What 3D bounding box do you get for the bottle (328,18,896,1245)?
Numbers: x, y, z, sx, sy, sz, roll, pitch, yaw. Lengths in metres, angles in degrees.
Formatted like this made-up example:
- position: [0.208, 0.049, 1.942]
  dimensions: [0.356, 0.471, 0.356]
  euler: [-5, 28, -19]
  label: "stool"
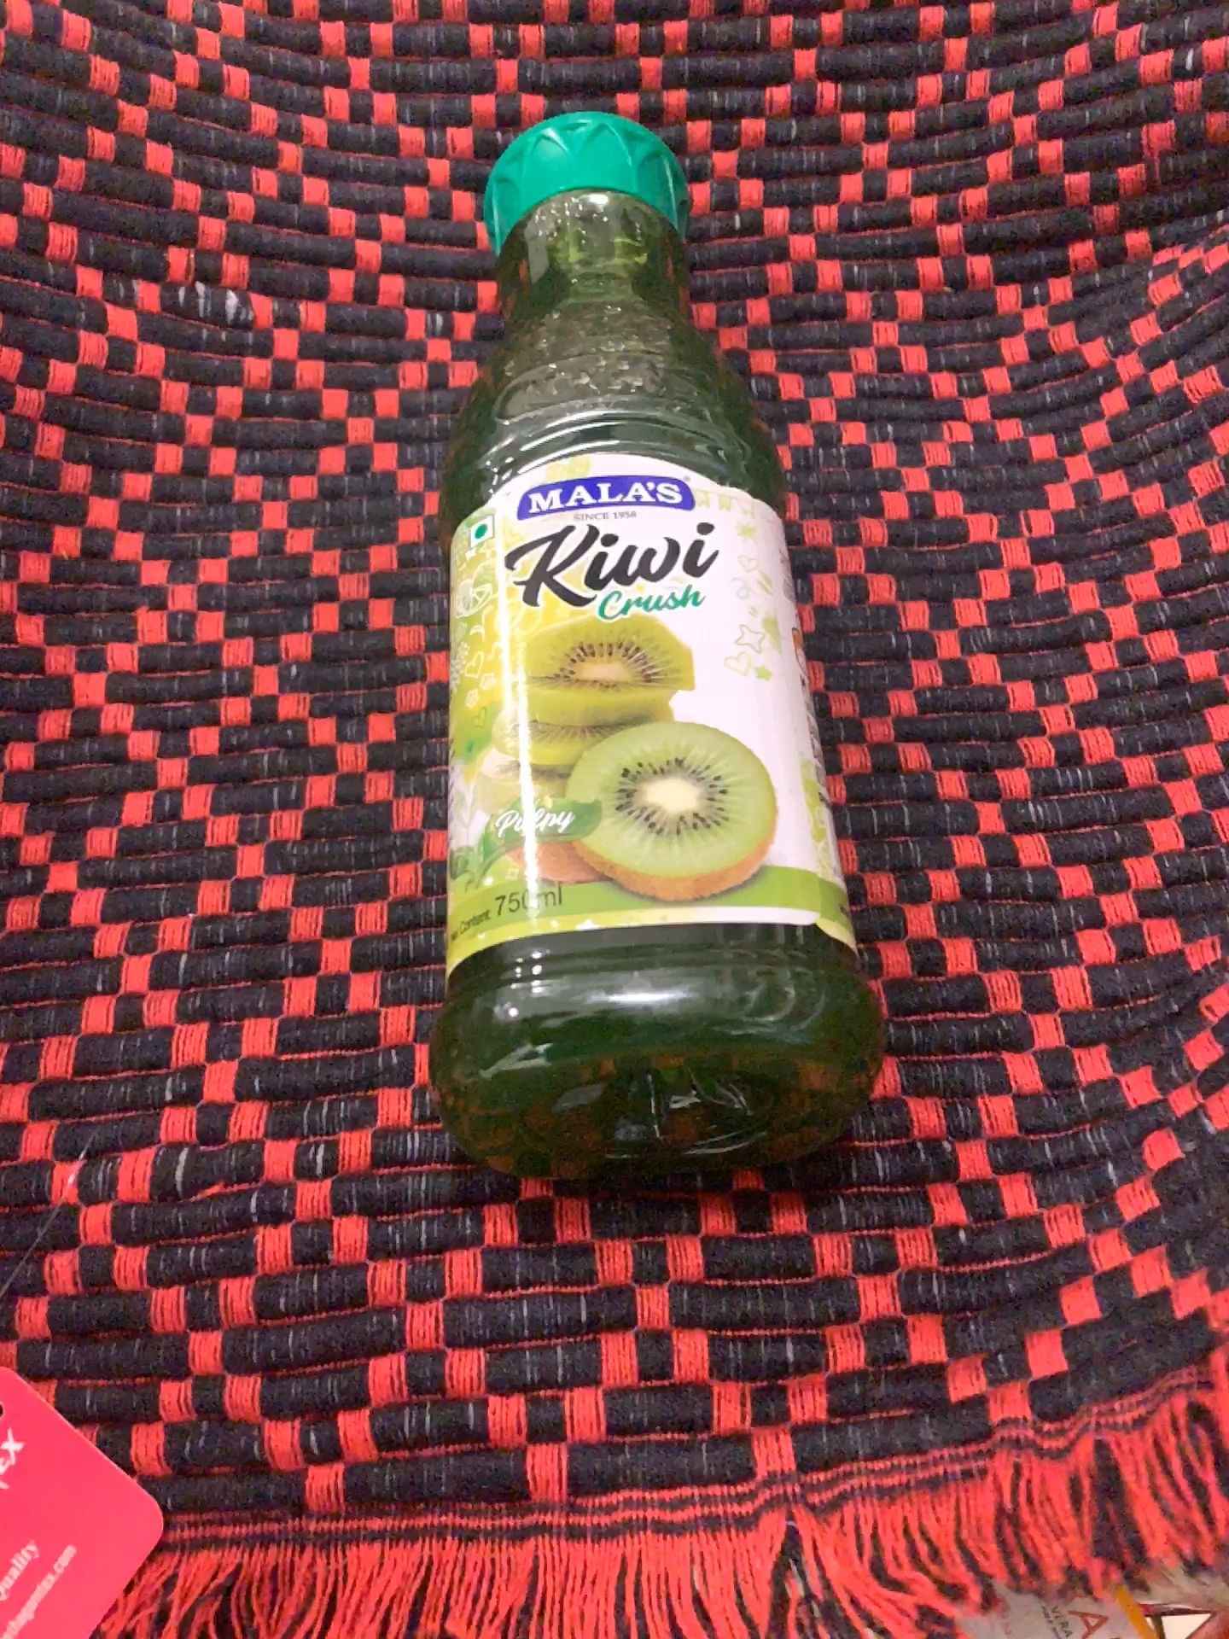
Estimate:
- position: [-0.007, -0.058, 0.262]
  dimensions: [0.070, 0.080, 0.261]
  euler: [-3, 56, -1]
  label: "bottle"
